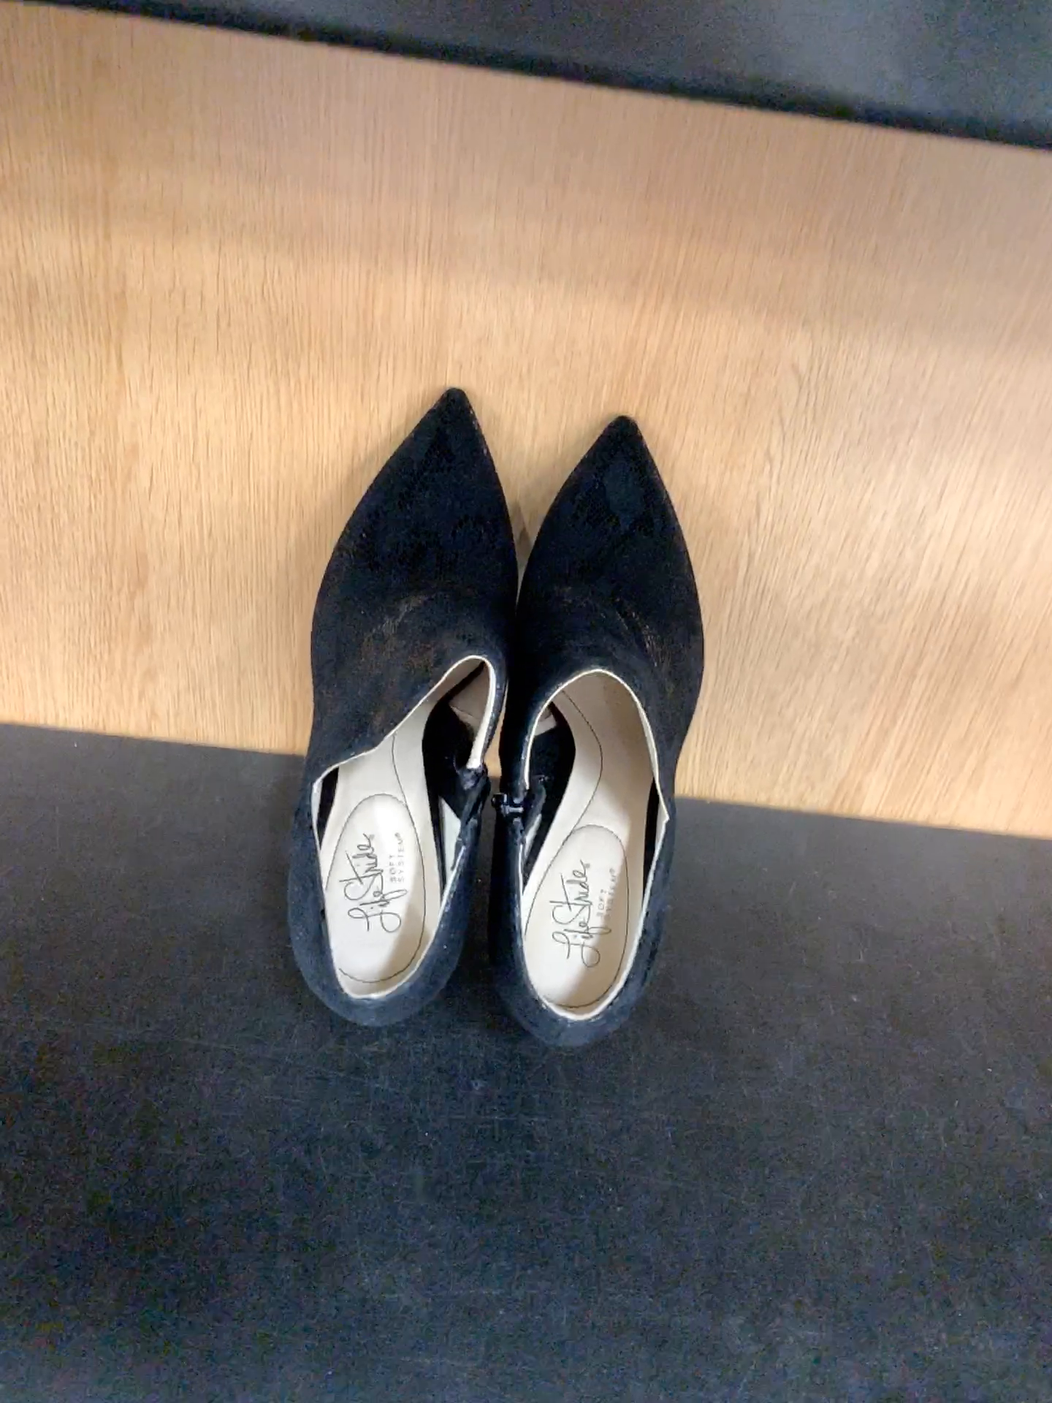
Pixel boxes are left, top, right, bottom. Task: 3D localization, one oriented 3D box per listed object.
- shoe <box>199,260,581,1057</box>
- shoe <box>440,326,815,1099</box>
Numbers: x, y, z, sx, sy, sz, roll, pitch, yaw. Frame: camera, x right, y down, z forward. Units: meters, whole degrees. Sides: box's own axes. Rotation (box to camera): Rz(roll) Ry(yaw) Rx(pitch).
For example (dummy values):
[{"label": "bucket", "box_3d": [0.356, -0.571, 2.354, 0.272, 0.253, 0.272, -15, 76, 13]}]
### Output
[{"label": "shoe", "box_3d": [-0.049, -0.013, 0.444, 0.101, 0.270, 0.140, 6, -7, -3]}, {"label": "shoe", "box_3d": [0.047, 0.003, 0.462, 0.111, 0.280, 0.120, 6, -7, 8]}]
